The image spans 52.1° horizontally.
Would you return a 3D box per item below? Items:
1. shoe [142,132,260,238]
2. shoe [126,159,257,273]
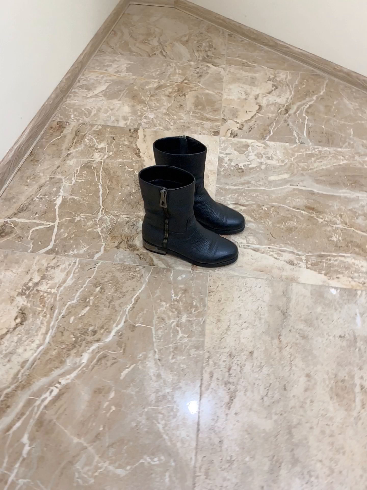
[{"bbox_3d":[0.037,-0.145,0.938,0.260,0.209,0.090,11,47,6],"label":"shoe"},{"bbox_3d":[0.014,-0.061,0.852,0.260,0.209,0.090,10,47,5],"label":"shoe"}]
